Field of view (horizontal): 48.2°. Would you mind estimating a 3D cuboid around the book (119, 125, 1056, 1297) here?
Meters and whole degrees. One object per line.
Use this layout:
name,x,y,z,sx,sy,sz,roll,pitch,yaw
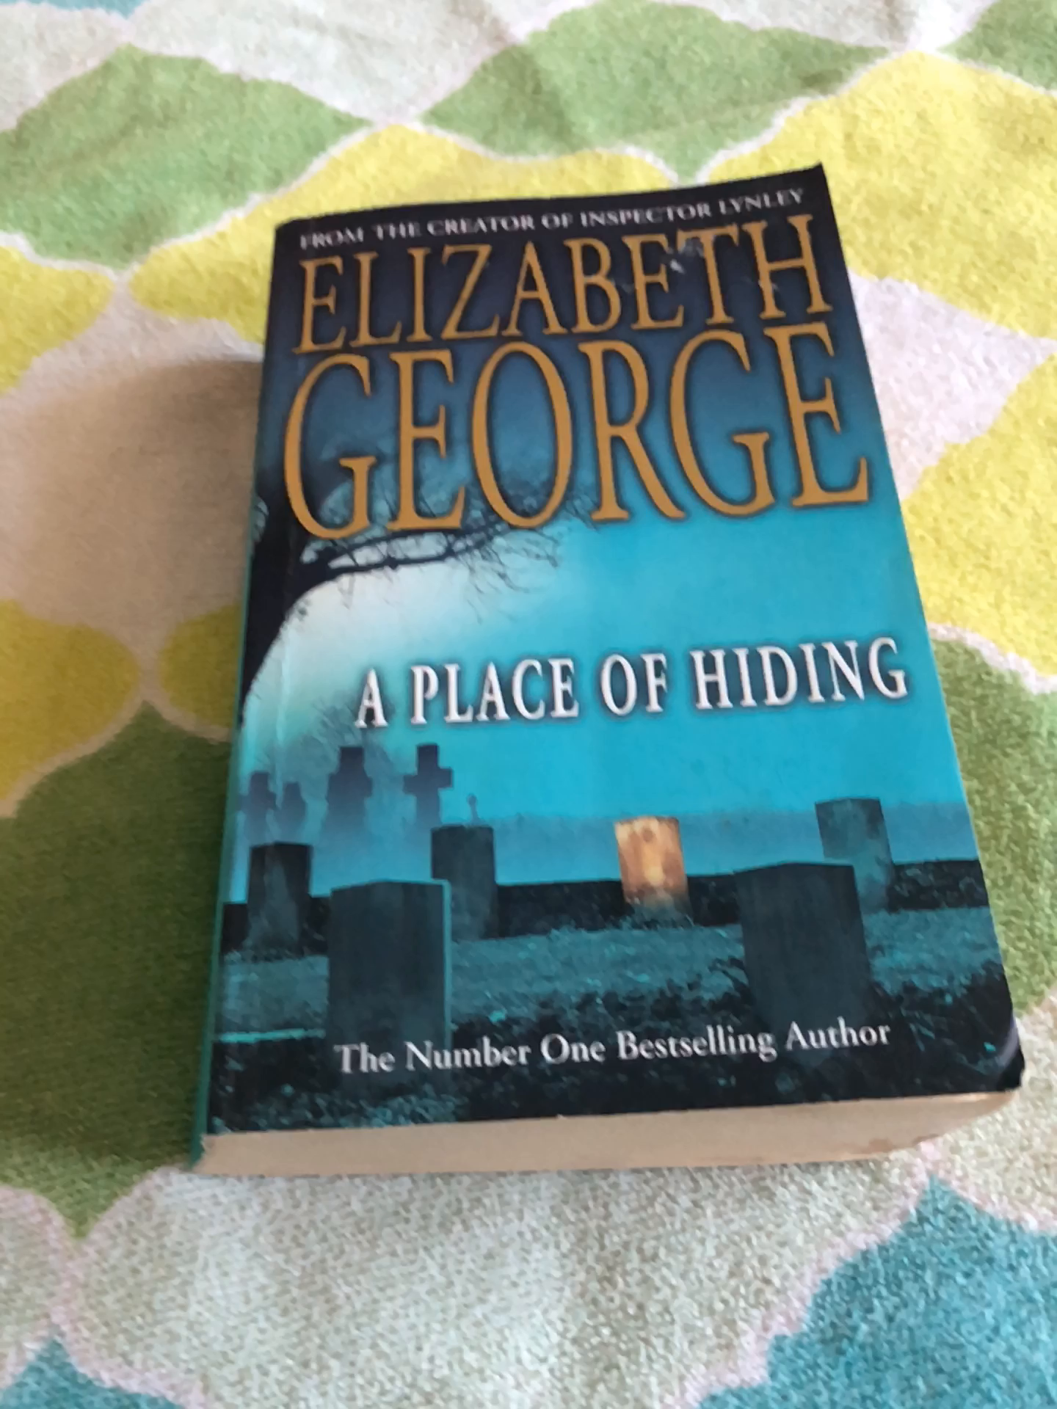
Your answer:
book,0.003,-0.008,0.231,0.130,0.070,0.211,-2,66,-5
